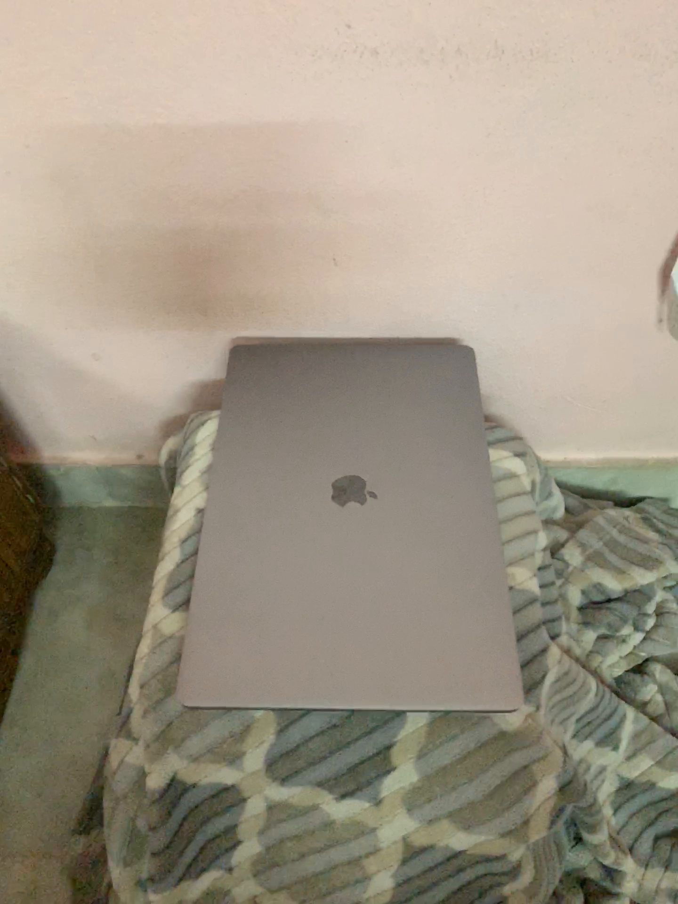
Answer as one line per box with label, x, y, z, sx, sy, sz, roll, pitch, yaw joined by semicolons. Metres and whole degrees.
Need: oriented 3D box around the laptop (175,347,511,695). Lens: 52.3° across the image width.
laptop;0.003;0.031;0.565;0.228;0.002;0.326;0;53;2
